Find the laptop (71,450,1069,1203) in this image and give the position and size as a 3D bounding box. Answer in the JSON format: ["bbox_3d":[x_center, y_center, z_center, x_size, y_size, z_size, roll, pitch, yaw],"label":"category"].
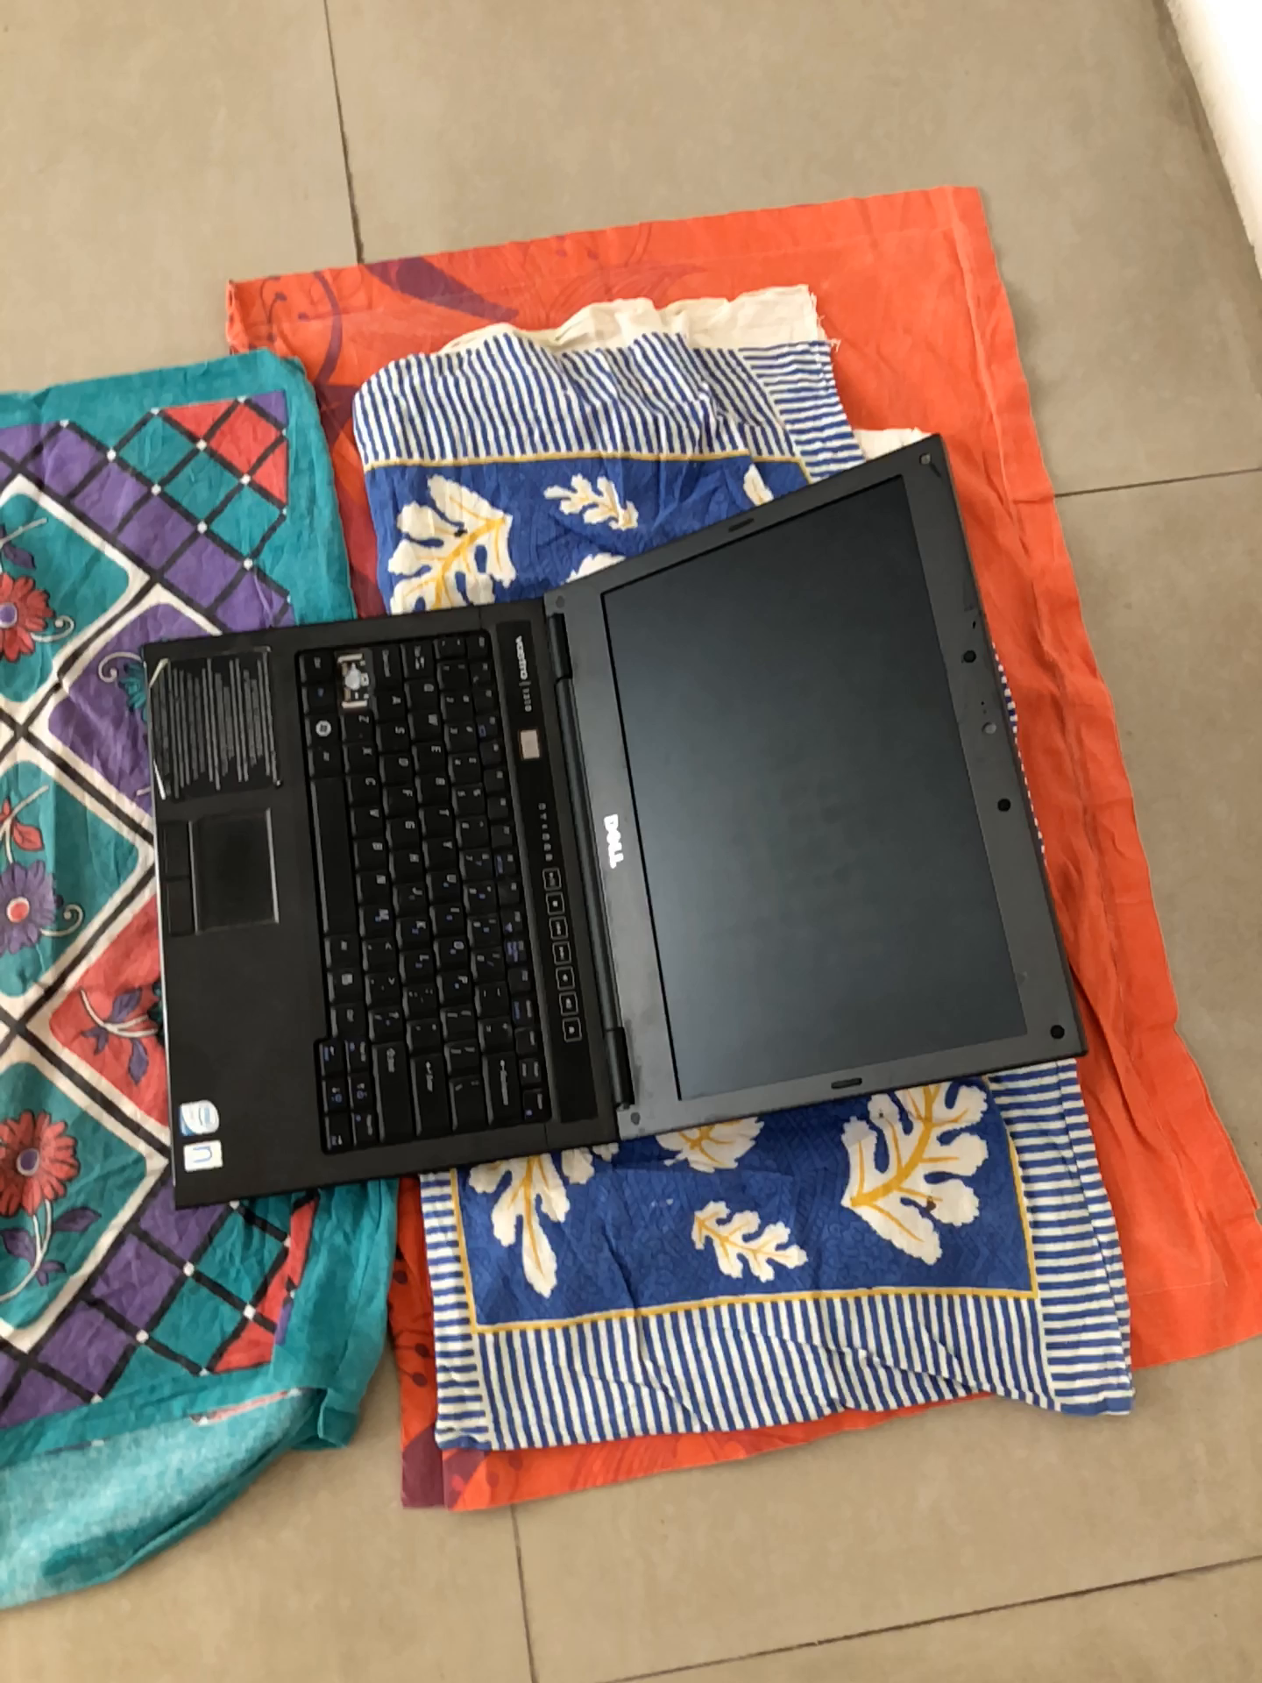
[{"bbox_3d":[-0.037,-0.009,0.695,0.419,0.125,0.306,-7,74,-6],"label":"laptop"}]
